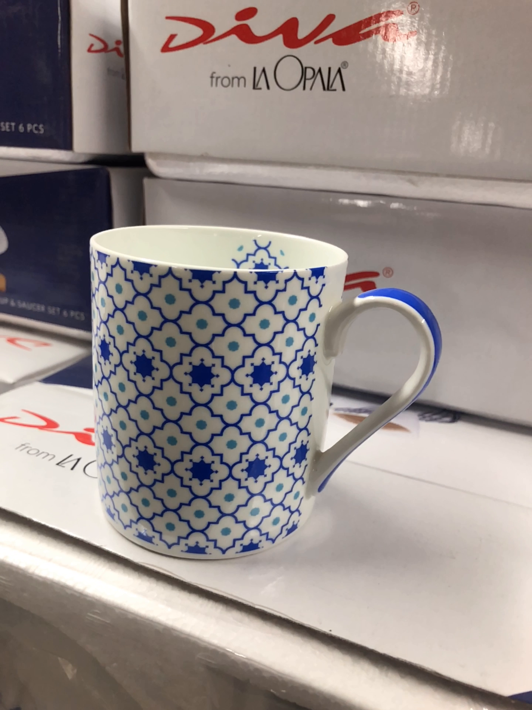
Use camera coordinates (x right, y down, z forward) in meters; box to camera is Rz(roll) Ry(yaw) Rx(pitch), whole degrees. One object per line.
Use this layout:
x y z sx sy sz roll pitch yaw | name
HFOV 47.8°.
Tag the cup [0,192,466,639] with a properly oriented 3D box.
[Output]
-0.007 0.004 0.162 0.100 0.080 0.070 10 22 19 | cup
